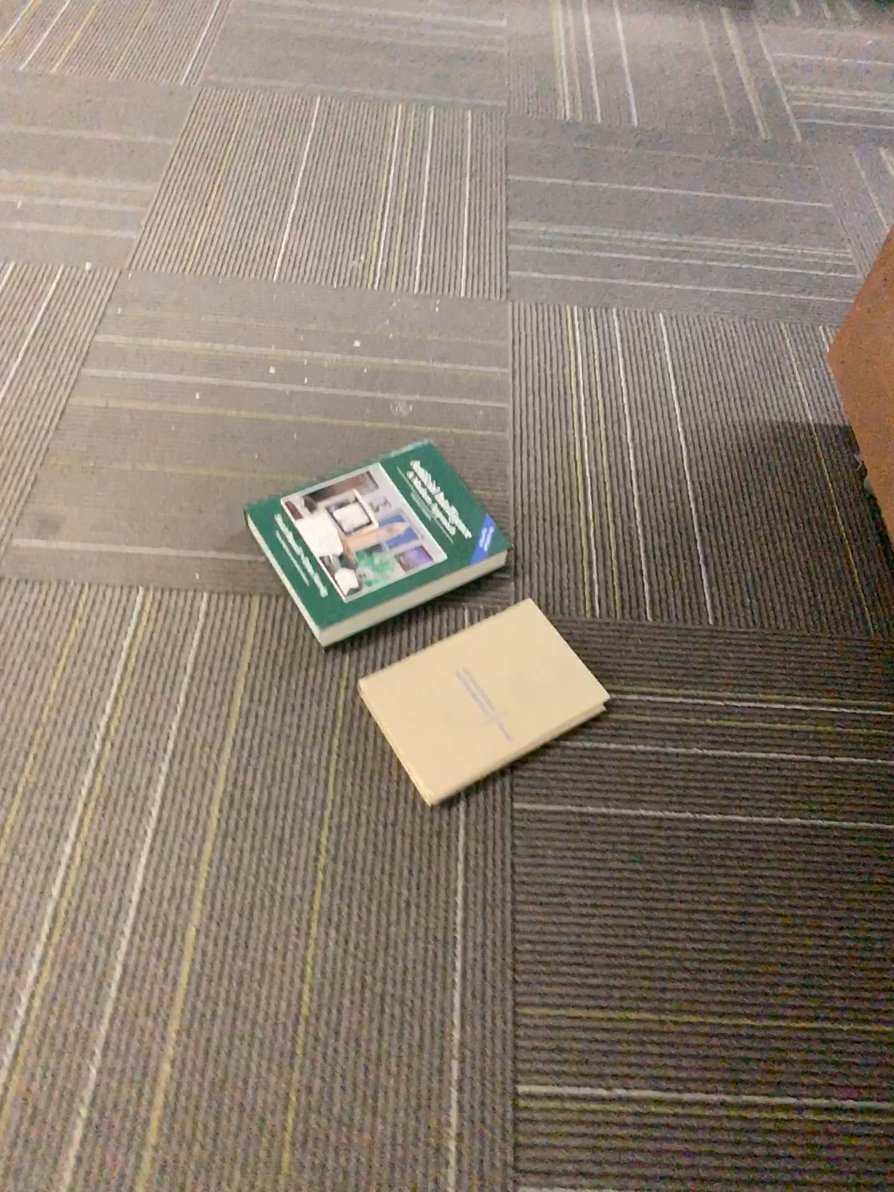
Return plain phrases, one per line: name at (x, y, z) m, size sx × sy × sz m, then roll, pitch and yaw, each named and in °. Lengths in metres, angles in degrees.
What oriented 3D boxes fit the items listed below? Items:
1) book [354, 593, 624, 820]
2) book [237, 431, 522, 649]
book at (0.045, 0.112, 1.002) m, size 0.240 × 0.030 × 0.171 m, roll -24°, pitch 59°, yaw -21°
book at (-0.084, -0.081, 1.132) m, size 0.276 × 0.030 × 0.222 m, roll -24°, pitch 59°, yaw -21°
